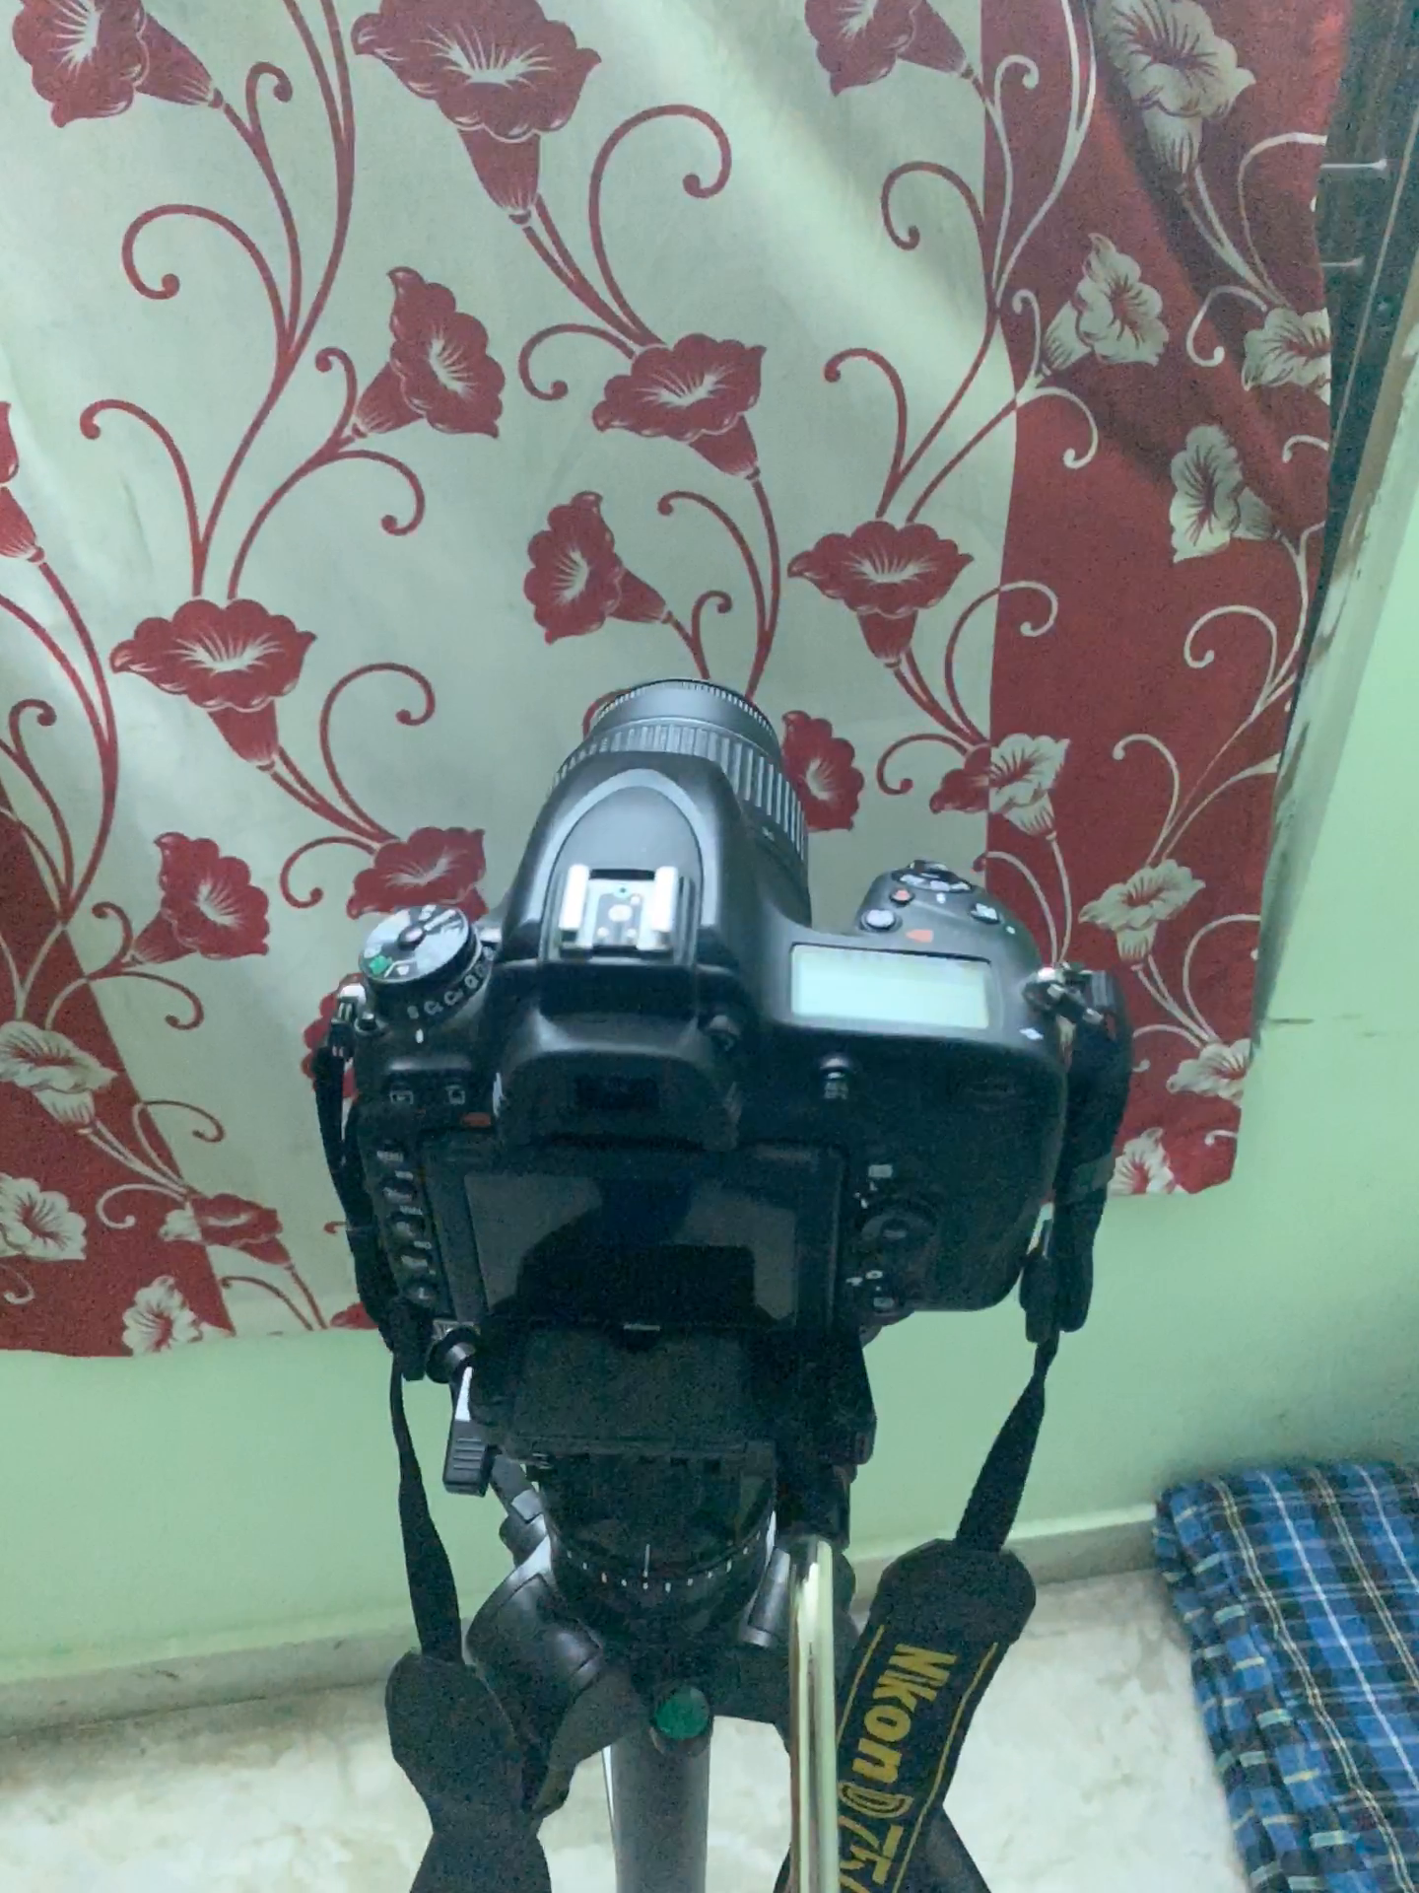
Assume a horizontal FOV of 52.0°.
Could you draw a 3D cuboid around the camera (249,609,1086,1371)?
[{"bbox_3d":[-0.006,0.004,0.327,0.139,0.112,0.130,1,35,1],"label":"camera"}]
